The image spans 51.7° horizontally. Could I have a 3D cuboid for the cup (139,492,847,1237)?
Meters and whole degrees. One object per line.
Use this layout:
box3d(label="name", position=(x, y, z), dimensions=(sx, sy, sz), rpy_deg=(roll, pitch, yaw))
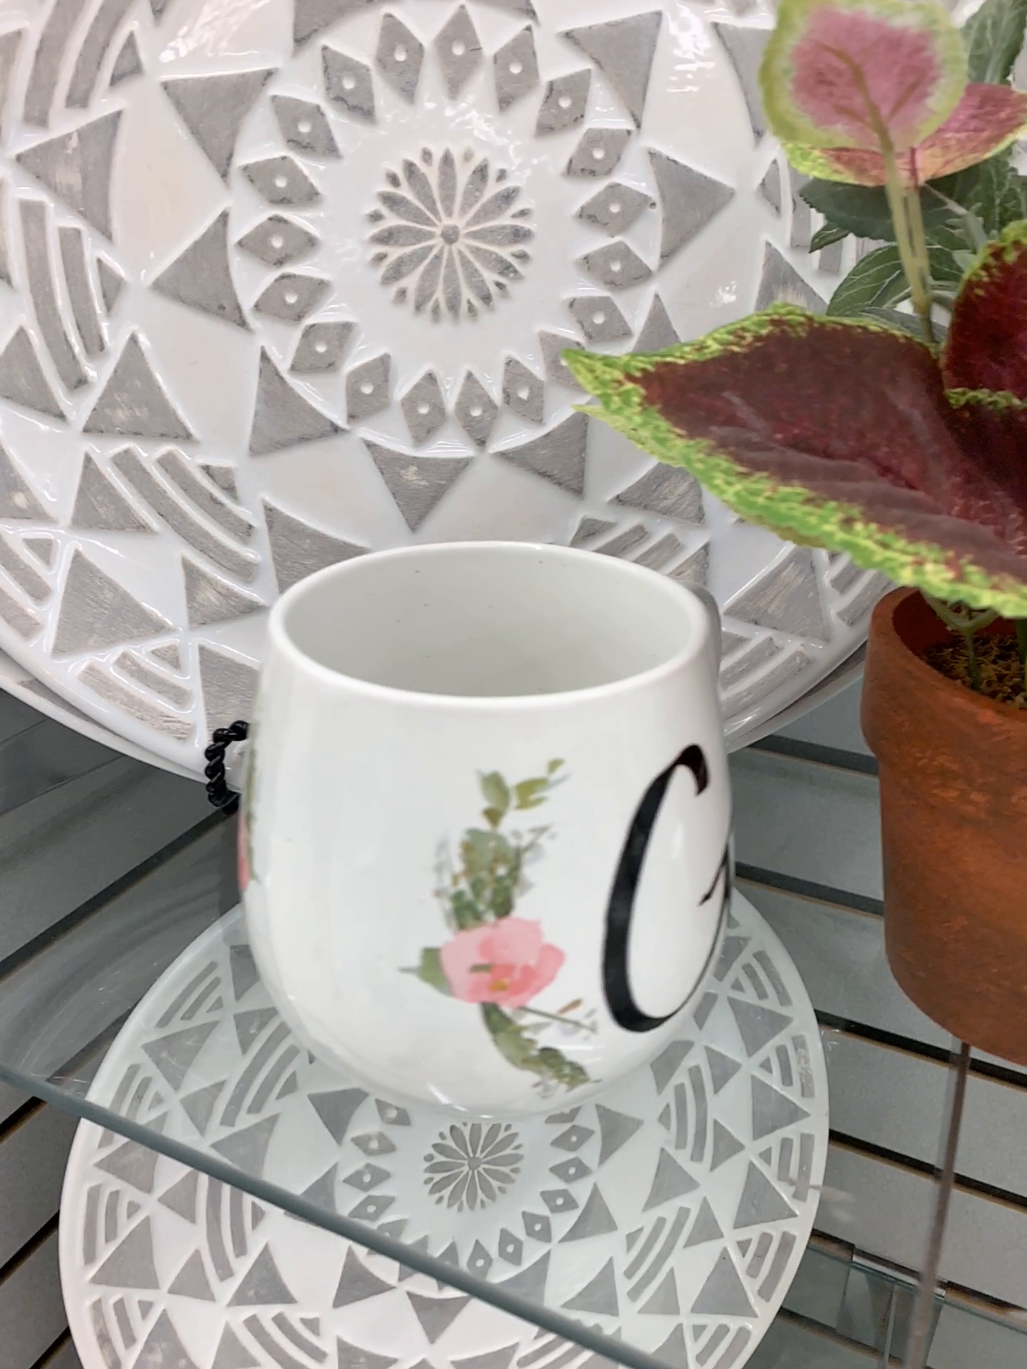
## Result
box3d(label="cup", position=(-0.002, 0.022, 0.216), dimensions=(0.089, 0.090, 0.100), rpy_deg=(20, 29, 34))
